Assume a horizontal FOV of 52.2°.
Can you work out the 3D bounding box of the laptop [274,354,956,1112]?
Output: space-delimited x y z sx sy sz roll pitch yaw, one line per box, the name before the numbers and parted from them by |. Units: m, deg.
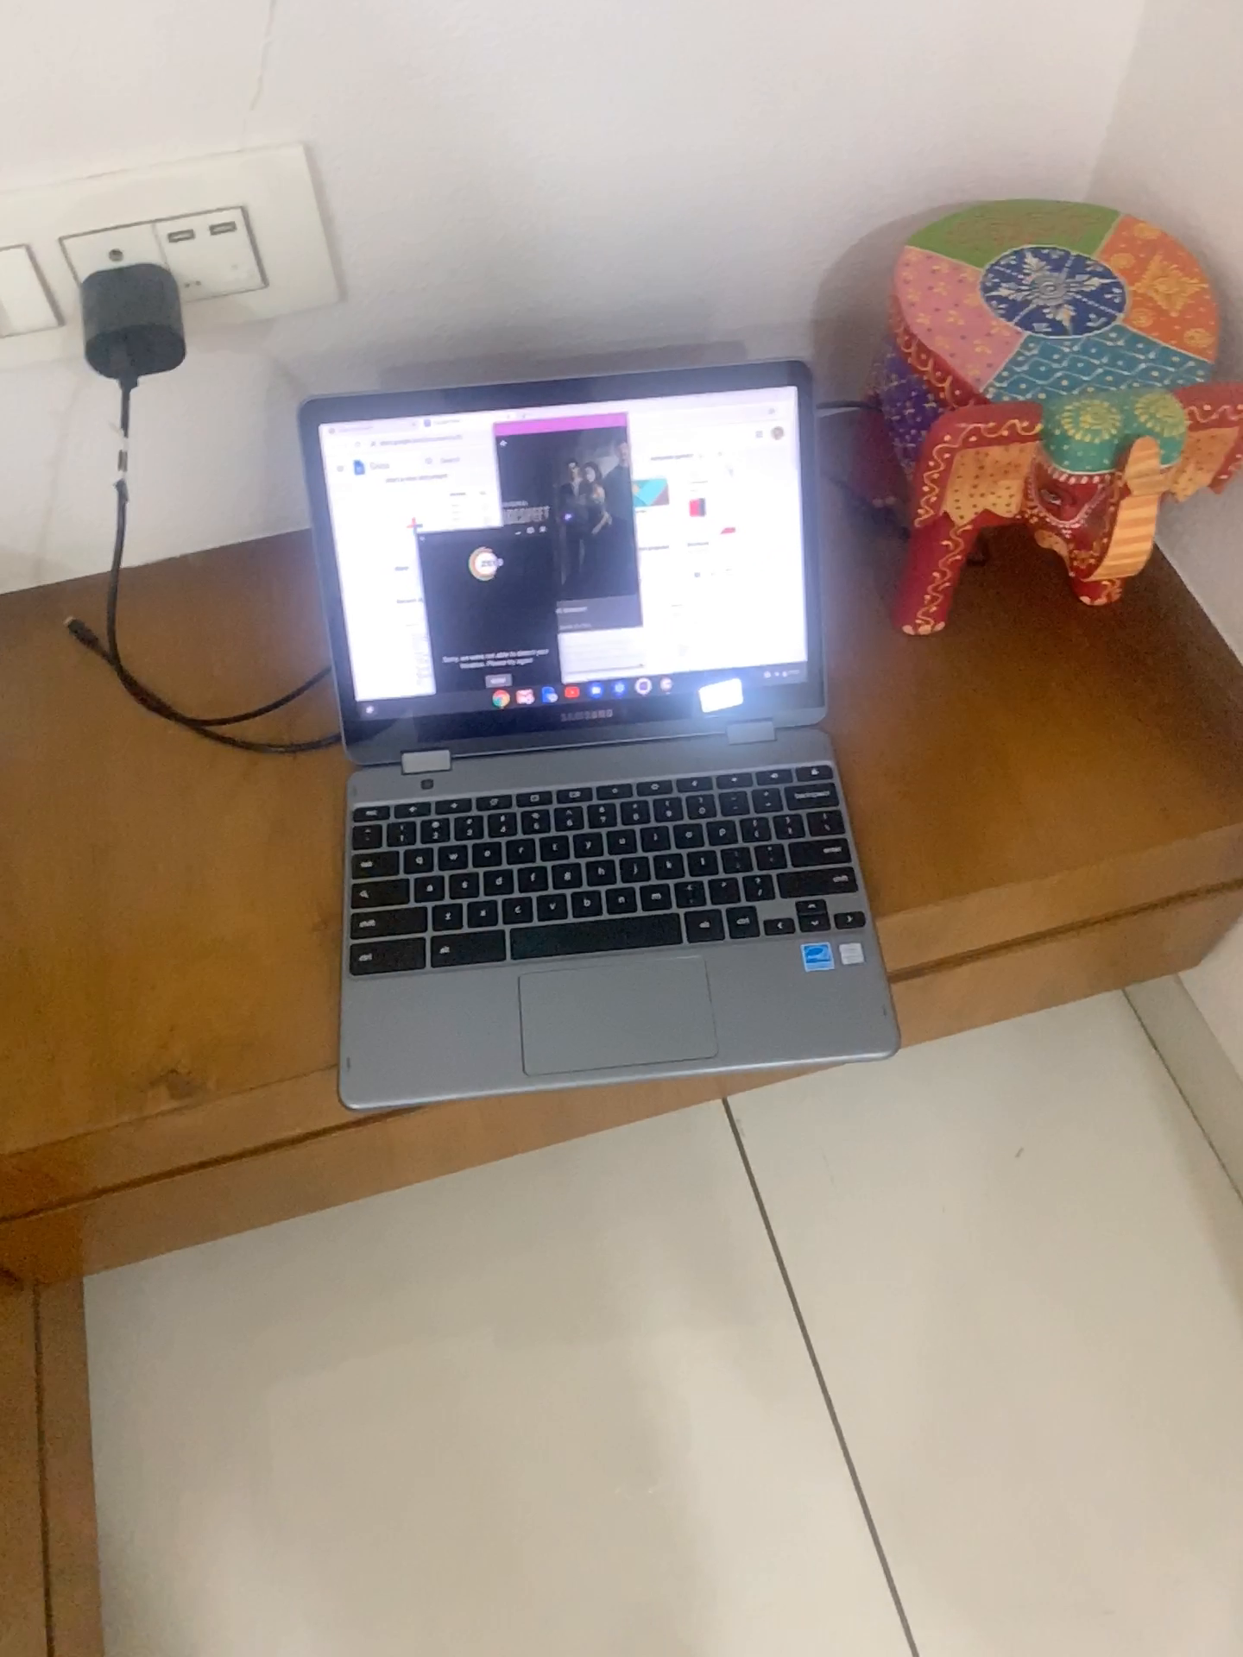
laptop | -0.016 -0.065 0.746 0.314 0.164 0.384 -5 60 -1
